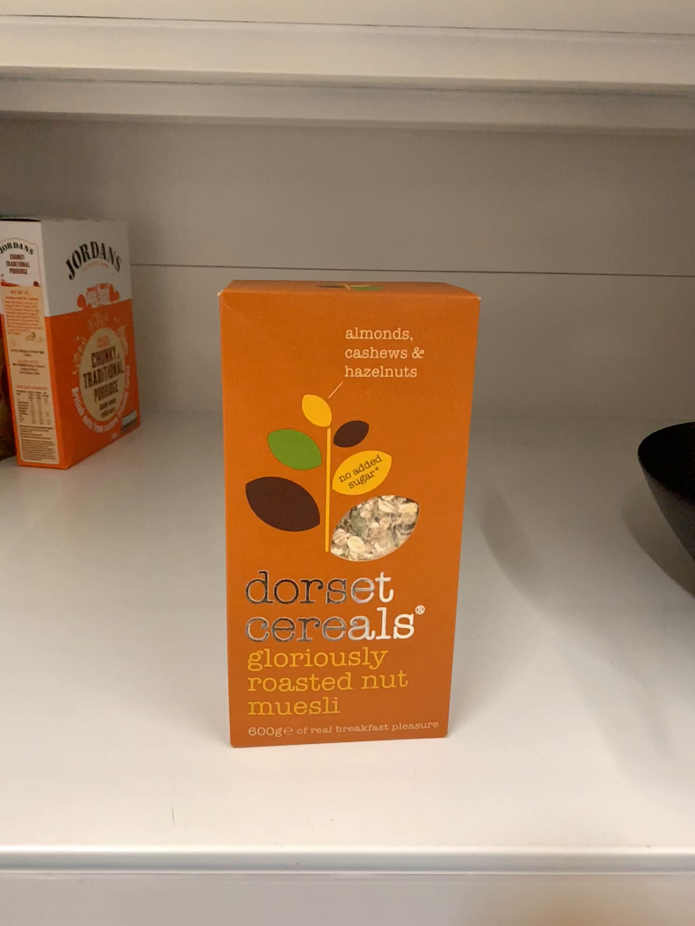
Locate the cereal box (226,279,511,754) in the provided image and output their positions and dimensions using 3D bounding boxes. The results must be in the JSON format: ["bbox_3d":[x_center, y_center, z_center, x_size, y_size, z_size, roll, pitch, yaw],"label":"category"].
[{"bbox_3d":[0.004,0.028,0.363,0.120,0.228,0.060,-1,18,-6],"label":"cereal box"}]
